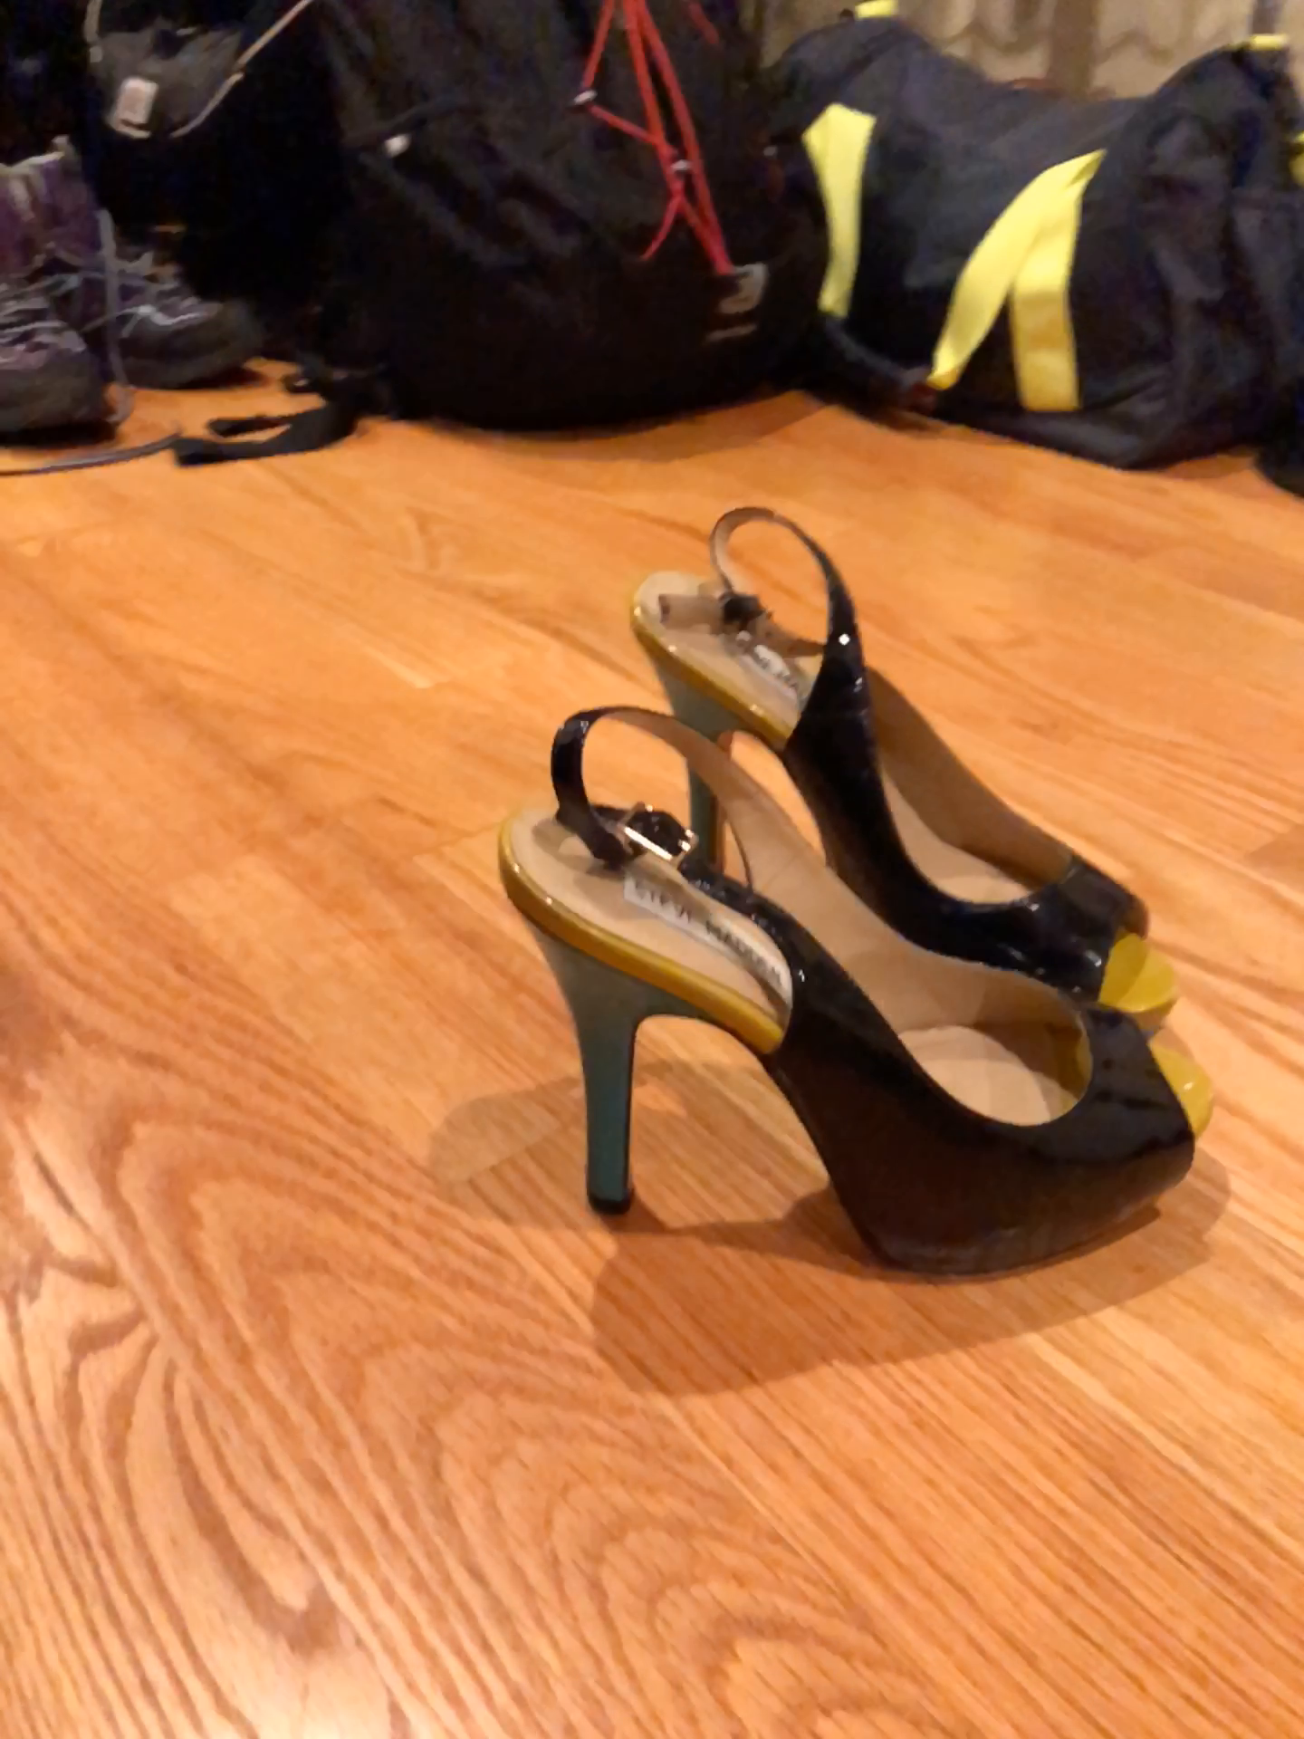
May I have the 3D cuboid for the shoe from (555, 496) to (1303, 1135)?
[{"bbox_3d":[0.076,-0.028,0.455,0.204,0.121,0.085,22,38,29],"label":"shoe"}]

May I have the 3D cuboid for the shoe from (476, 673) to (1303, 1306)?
[{"bbox_3d":[0.060,0.029,0.366,0.201,0.131,0.086,-1,32,-4],"label":"shoe"}]
